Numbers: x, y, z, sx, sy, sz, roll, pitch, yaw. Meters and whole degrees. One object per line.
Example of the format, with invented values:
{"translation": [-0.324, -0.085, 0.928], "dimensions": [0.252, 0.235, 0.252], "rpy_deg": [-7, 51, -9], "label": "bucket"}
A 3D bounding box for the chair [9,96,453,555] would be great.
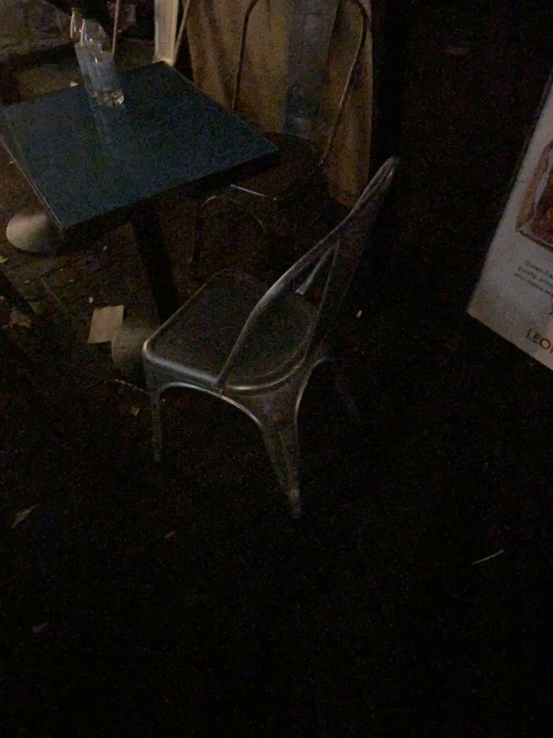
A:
{"translation": [-0.036, -0.091, 1.231], "dimensions": [0.601, 0.723, 0.504], "rpy_deg": [17, 51, 20], "label": "chair"}
